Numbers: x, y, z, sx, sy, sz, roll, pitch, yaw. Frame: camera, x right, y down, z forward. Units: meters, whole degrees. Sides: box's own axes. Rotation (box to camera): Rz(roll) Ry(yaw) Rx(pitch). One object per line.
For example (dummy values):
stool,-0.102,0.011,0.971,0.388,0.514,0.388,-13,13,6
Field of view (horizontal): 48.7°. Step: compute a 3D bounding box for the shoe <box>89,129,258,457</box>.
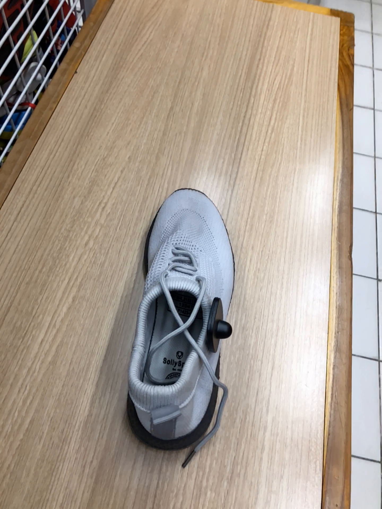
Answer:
shoe,-0.005,0.031,0.390,0.106,0.122,0.265,7,59,-2
